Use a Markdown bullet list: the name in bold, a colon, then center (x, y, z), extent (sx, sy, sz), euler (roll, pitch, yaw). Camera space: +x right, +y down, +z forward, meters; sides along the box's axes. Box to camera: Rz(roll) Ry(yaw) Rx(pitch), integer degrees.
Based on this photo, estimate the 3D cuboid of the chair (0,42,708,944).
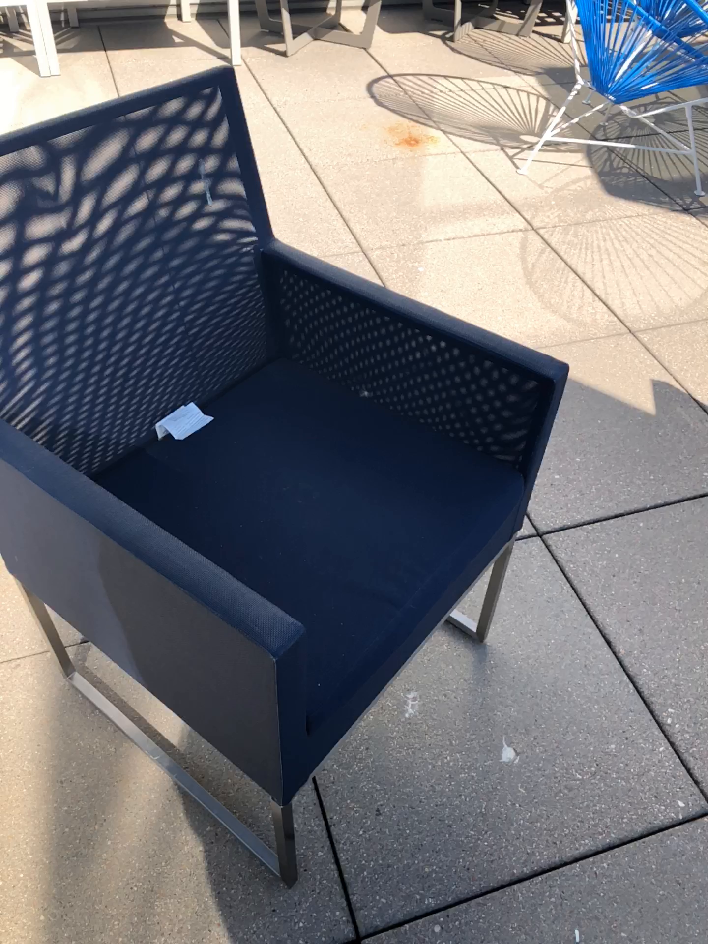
- **chair**: center (-0.091, 0.005, 1.031), extent (0.672, 0.776, 0.651), euler (32, 51, 25)
